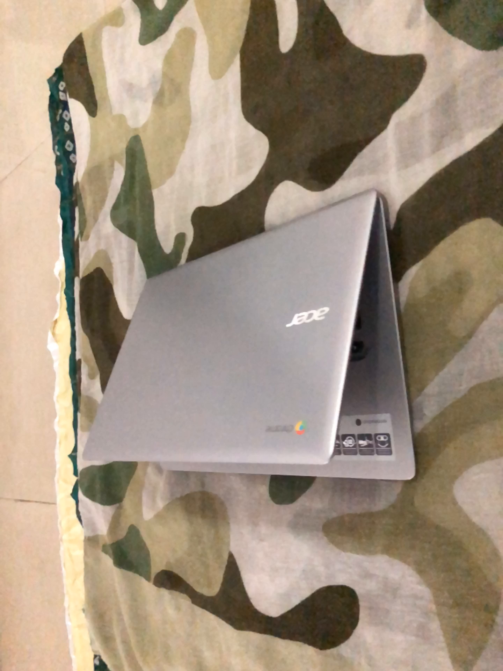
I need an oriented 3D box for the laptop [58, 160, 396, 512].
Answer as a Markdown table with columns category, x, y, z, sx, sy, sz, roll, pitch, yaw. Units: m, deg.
| category | x | y | z | sx | sy | sz | roll | pitch | yaw |
| --- | --- | --- | --- | --- | --- | --- | --- | --- | --- |
| laptop | -0.045 | 0.017 | 0.512 | 0.312 | 0.124 | 0.232 | -13 | 75 | 45 |
